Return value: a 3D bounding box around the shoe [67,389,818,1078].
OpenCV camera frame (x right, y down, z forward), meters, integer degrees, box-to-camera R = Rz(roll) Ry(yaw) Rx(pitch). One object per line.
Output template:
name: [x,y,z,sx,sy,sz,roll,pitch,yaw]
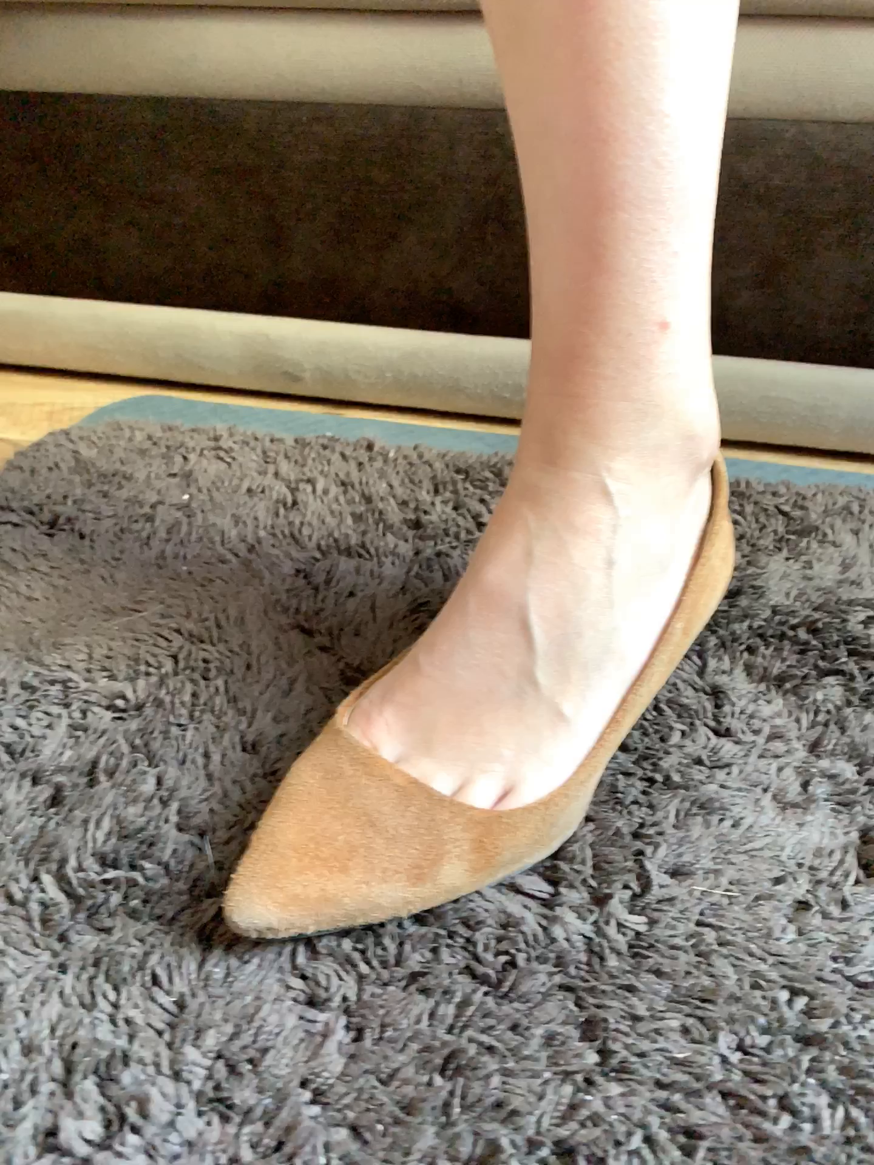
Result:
shoe: [0.023,0.019,0.302,0.090,0.080,0.251,27,42,33]
